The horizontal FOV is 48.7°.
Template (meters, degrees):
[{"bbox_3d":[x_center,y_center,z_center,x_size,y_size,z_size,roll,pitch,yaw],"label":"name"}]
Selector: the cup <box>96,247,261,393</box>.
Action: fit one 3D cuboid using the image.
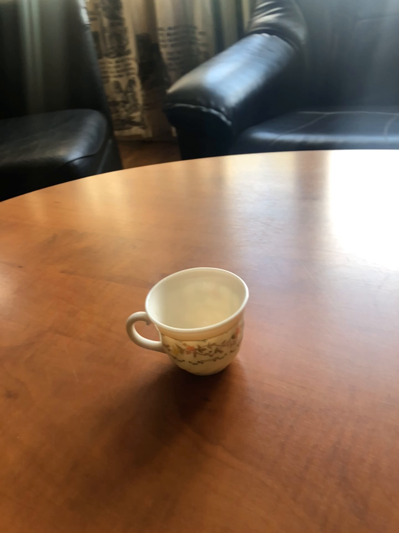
[{"bbox_3d":[-0.011,0.030,0.267,0.083,0.048,0.063,-8,32,2],"label":"cup"}]
